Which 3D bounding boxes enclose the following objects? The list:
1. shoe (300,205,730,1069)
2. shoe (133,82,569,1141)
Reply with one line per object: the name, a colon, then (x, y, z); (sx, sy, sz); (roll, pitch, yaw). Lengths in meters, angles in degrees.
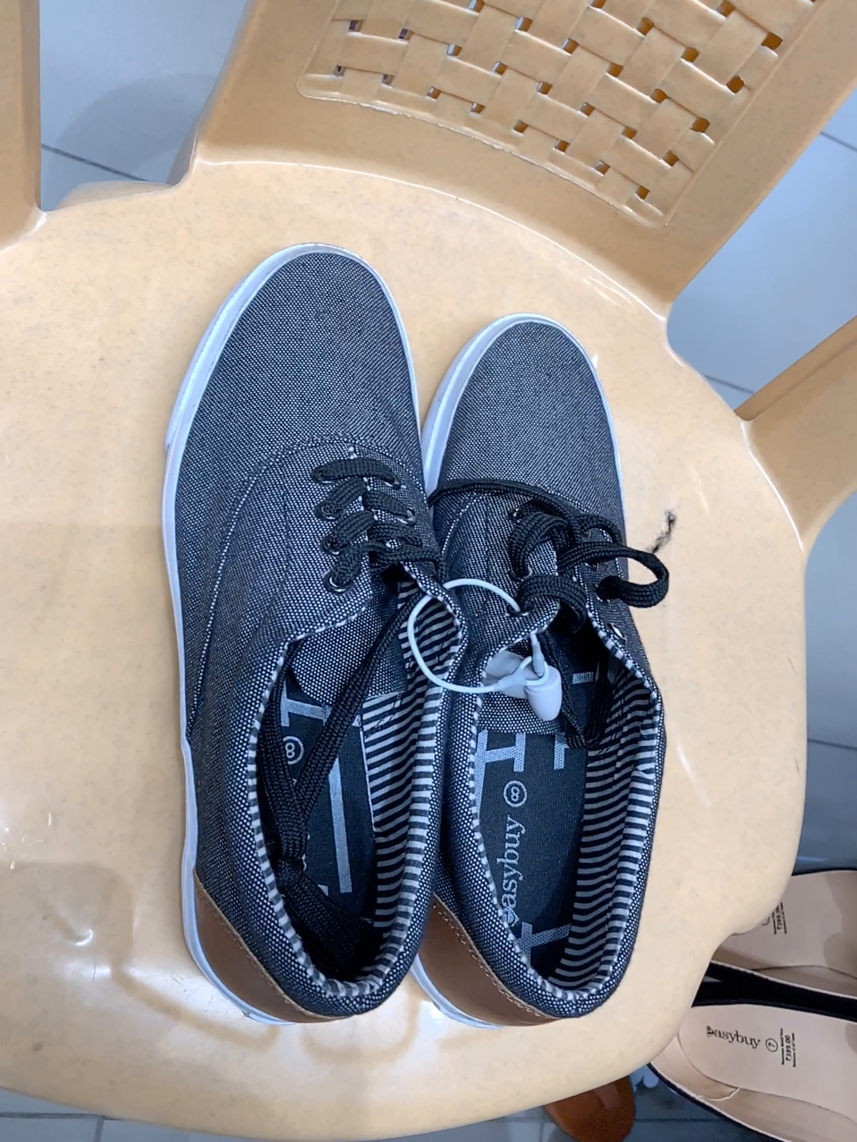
shoe: (0.032, 0.025, 0.343); (0.110, 0.110, 0.270); (9, 78, -19)
shoe: (-0.027, 0.012, 0.278); (0.100, 0.110, 0.260); (5, 80, -20)
